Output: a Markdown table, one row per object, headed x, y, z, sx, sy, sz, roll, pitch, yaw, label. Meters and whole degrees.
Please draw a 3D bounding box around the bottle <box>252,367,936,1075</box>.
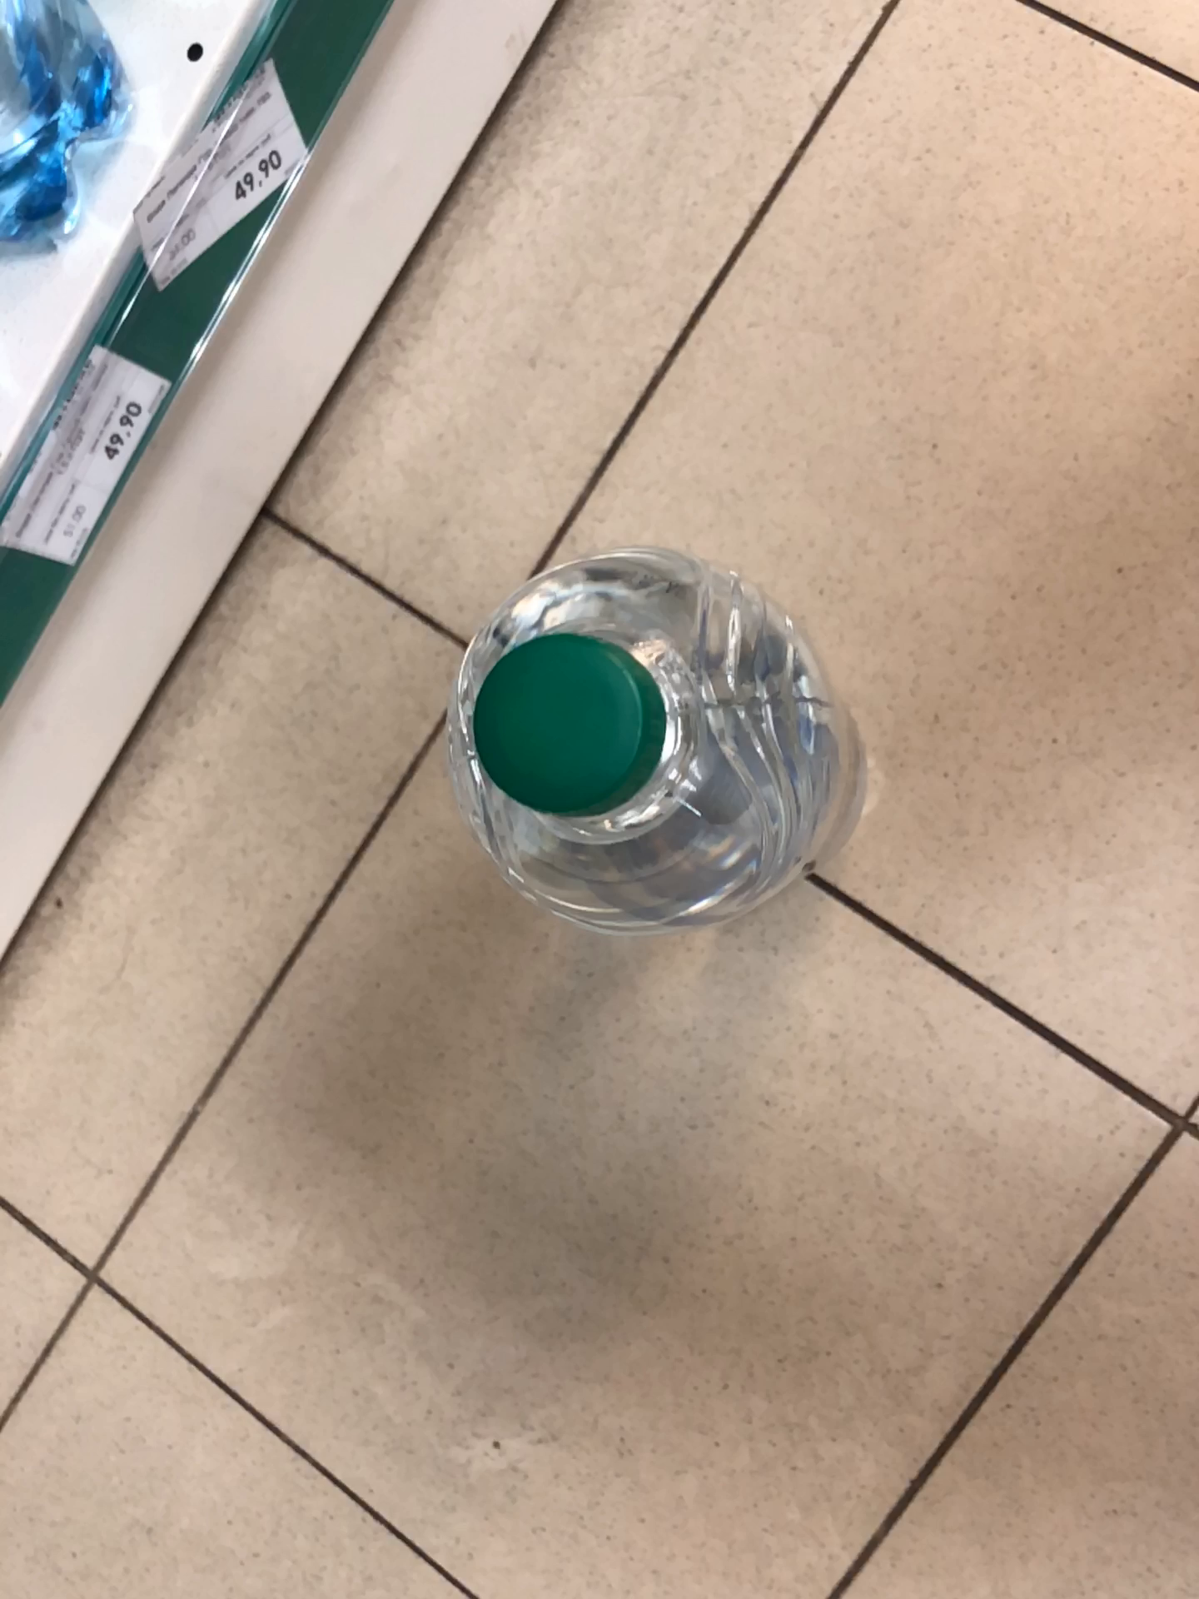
| x | y | z | sx | sy | sz | roll | pitch | yaw | label |
| --- | --- | --- | --- | --- | --- | --- | --- | --- | --- |
| 0.030 | -0.013 | 0.365 | 0.086 | 0.301 | 0.089 | 0 | 89 | 13 | bottle |
